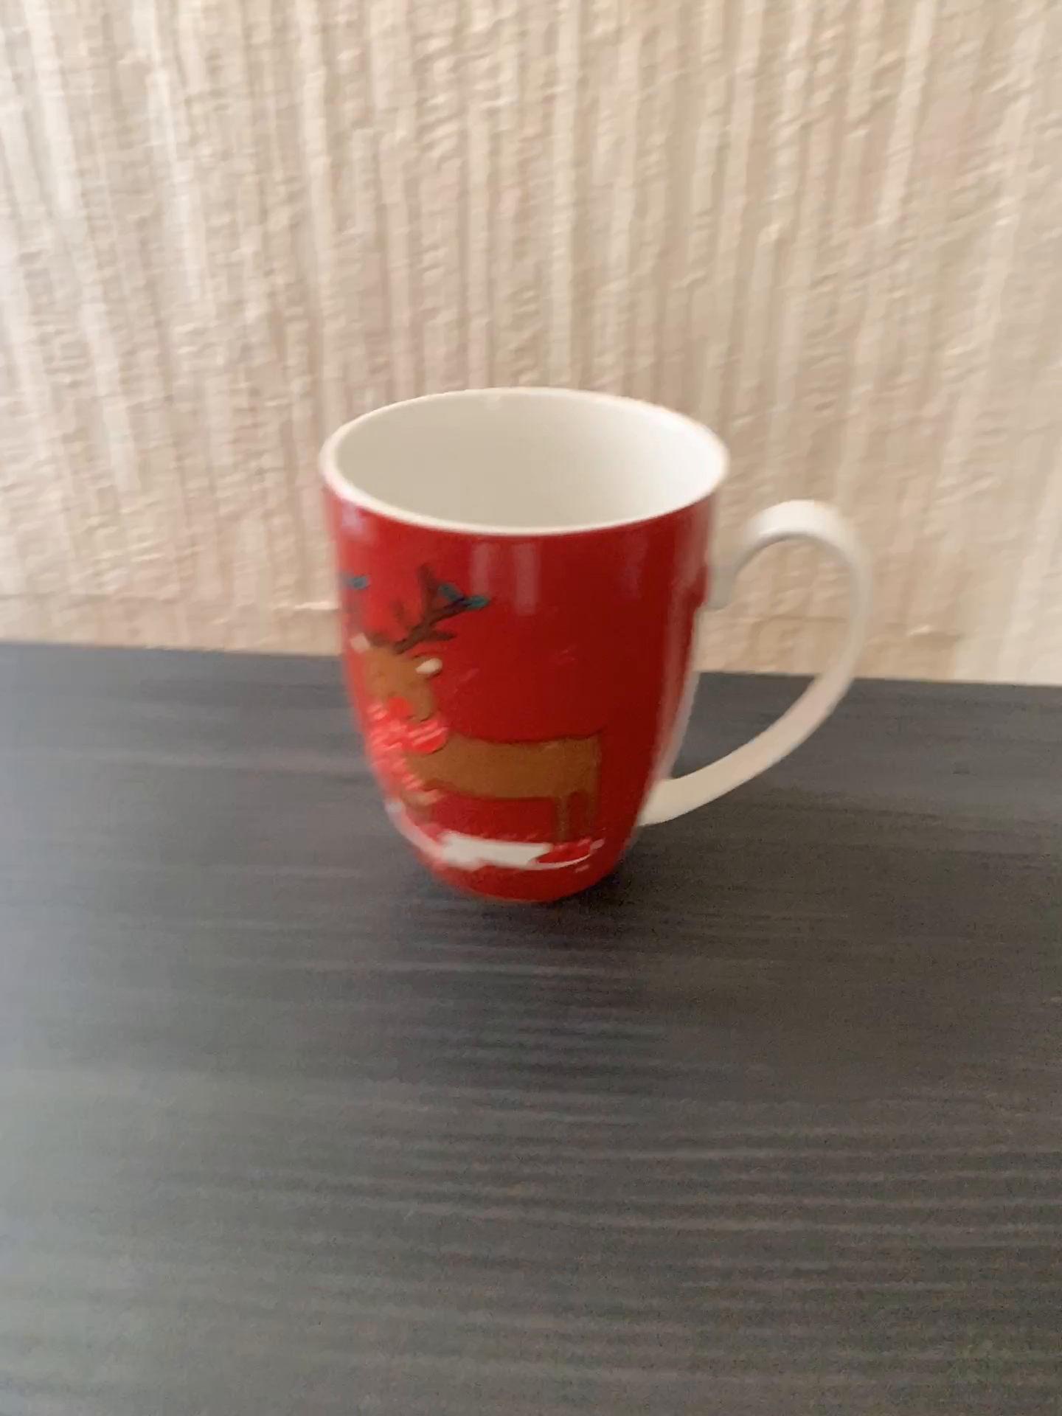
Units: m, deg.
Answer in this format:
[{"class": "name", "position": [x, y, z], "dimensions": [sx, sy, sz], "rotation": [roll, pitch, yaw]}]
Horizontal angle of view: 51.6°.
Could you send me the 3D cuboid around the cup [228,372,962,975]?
[{"class": "cup", "position": [0.016, -0.015, 0.253], "dimensions": [0.130, 0.089, 0.091], "rotation": [8, 34, 10]}]
